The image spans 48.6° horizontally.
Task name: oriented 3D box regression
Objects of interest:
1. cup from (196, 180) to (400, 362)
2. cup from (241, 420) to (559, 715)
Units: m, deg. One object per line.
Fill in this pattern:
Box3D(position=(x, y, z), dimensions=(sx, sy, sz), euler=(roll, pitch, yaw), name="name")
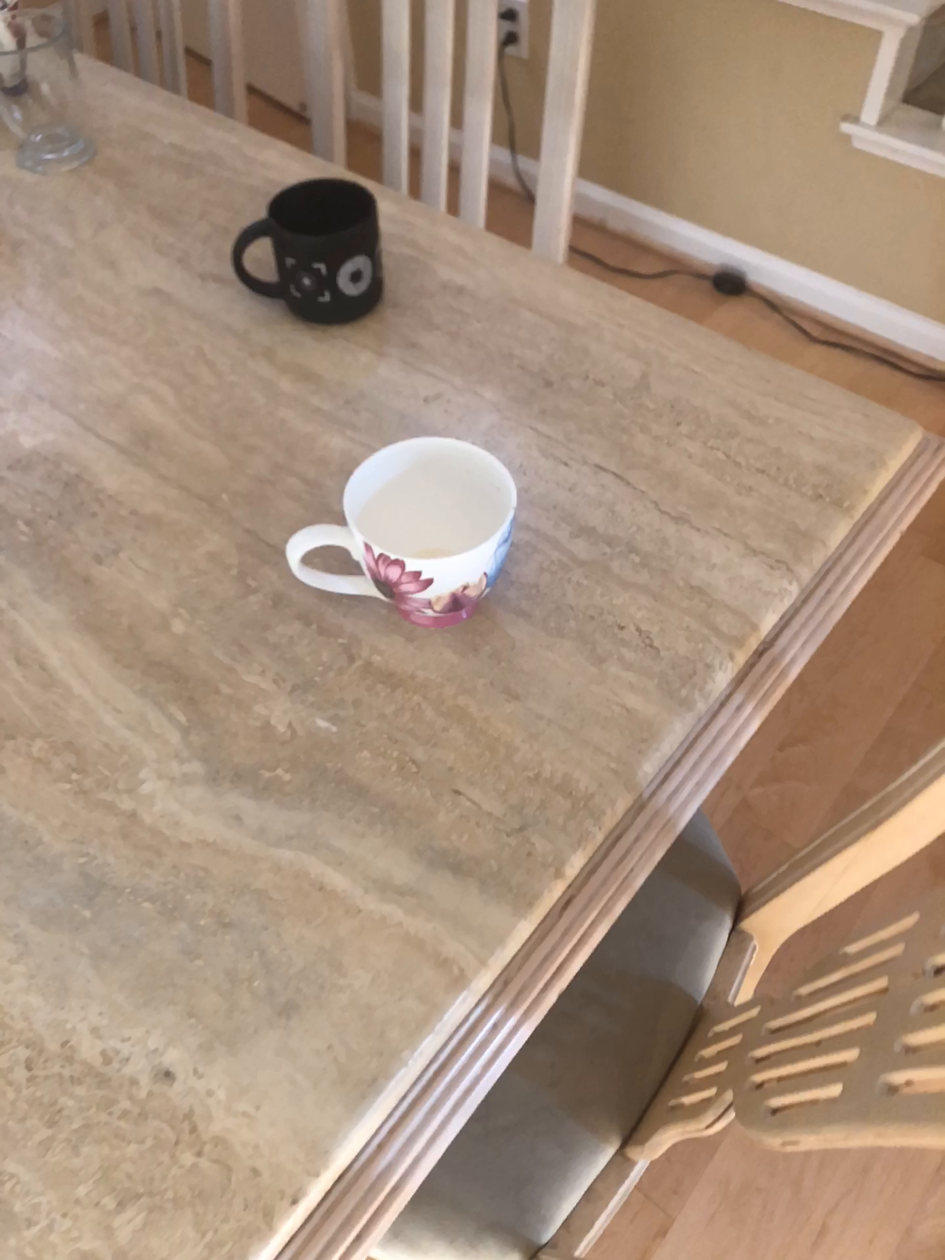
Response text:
Box3D(position=(-0.147, -0.306, 0.890), dimensions=(0.150, 0.089, 0.101), euler=(-10, 53, -7), name="cup")
Box3D(position=(-0.044, -0.042, 0.660), dimensions=(0.160, 0.089, 0.111), euler=(-21, 55, -14), name="cup")
